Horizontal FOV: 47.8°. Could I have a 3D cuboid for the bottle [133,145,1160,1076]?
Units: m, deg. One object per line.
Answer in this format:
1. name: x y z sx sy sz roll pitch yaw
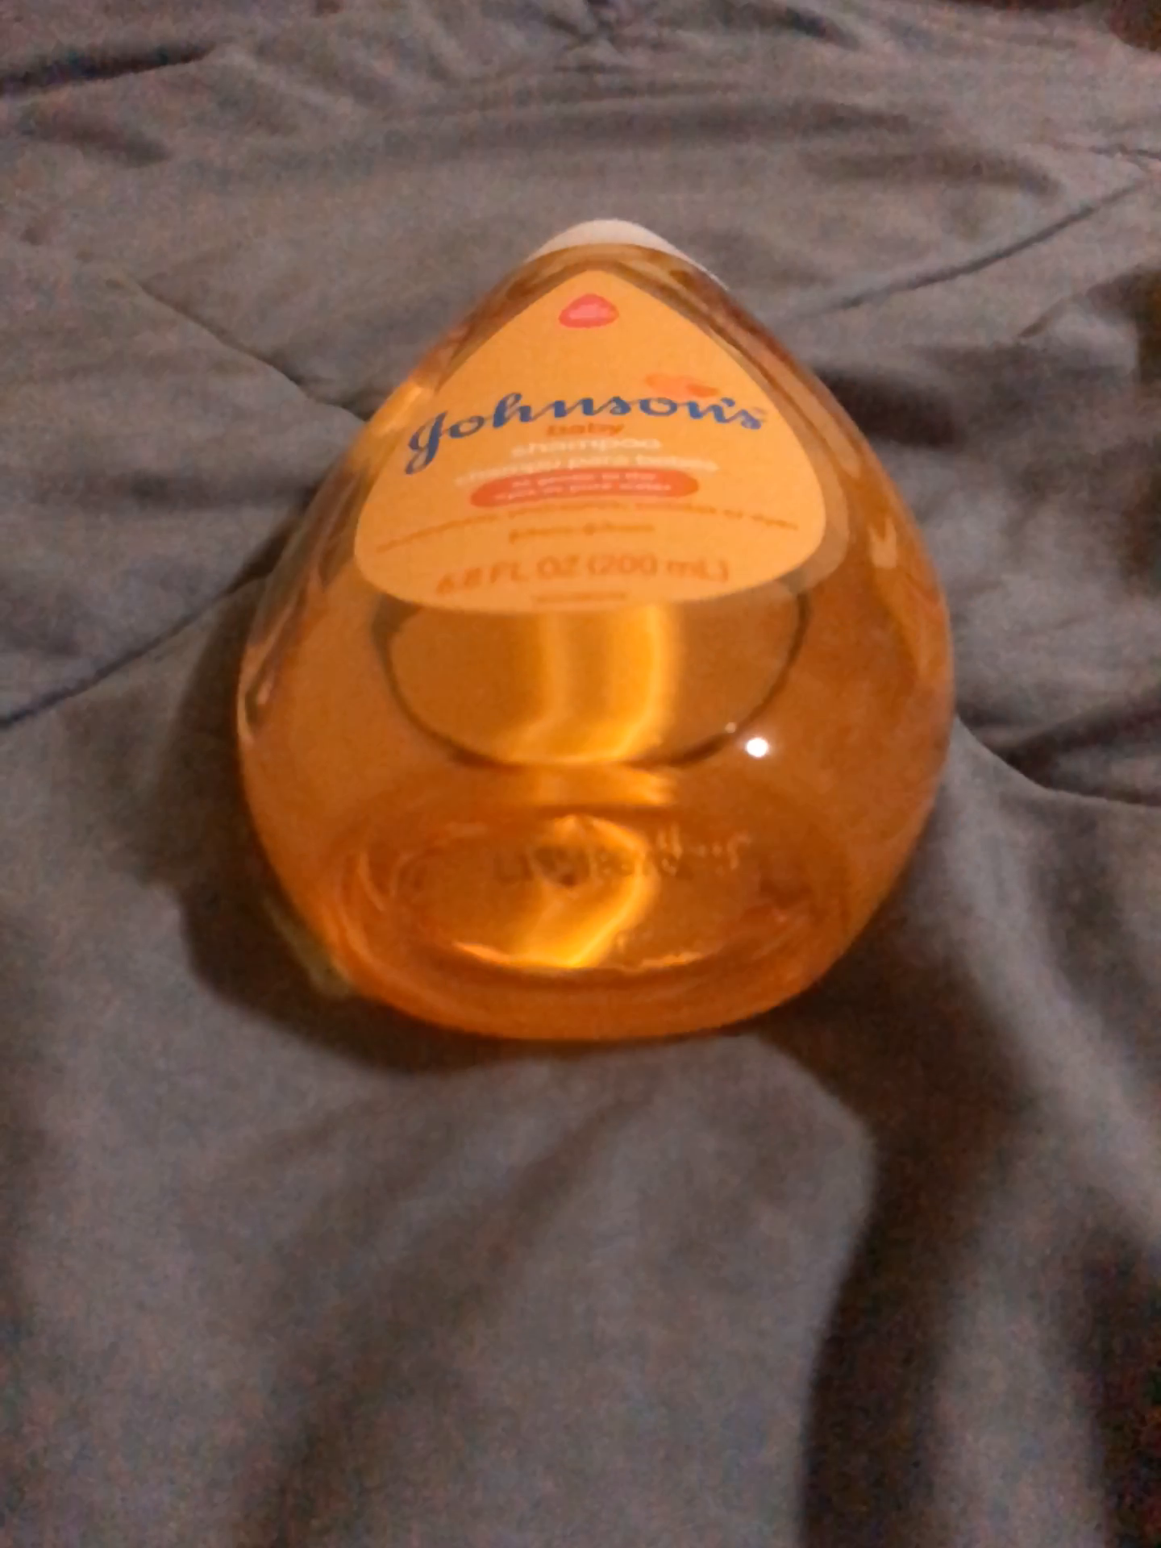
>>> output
1. bottle: 0.015 -0.040 0.171 0.083 0.040 0.160 2 39 5
